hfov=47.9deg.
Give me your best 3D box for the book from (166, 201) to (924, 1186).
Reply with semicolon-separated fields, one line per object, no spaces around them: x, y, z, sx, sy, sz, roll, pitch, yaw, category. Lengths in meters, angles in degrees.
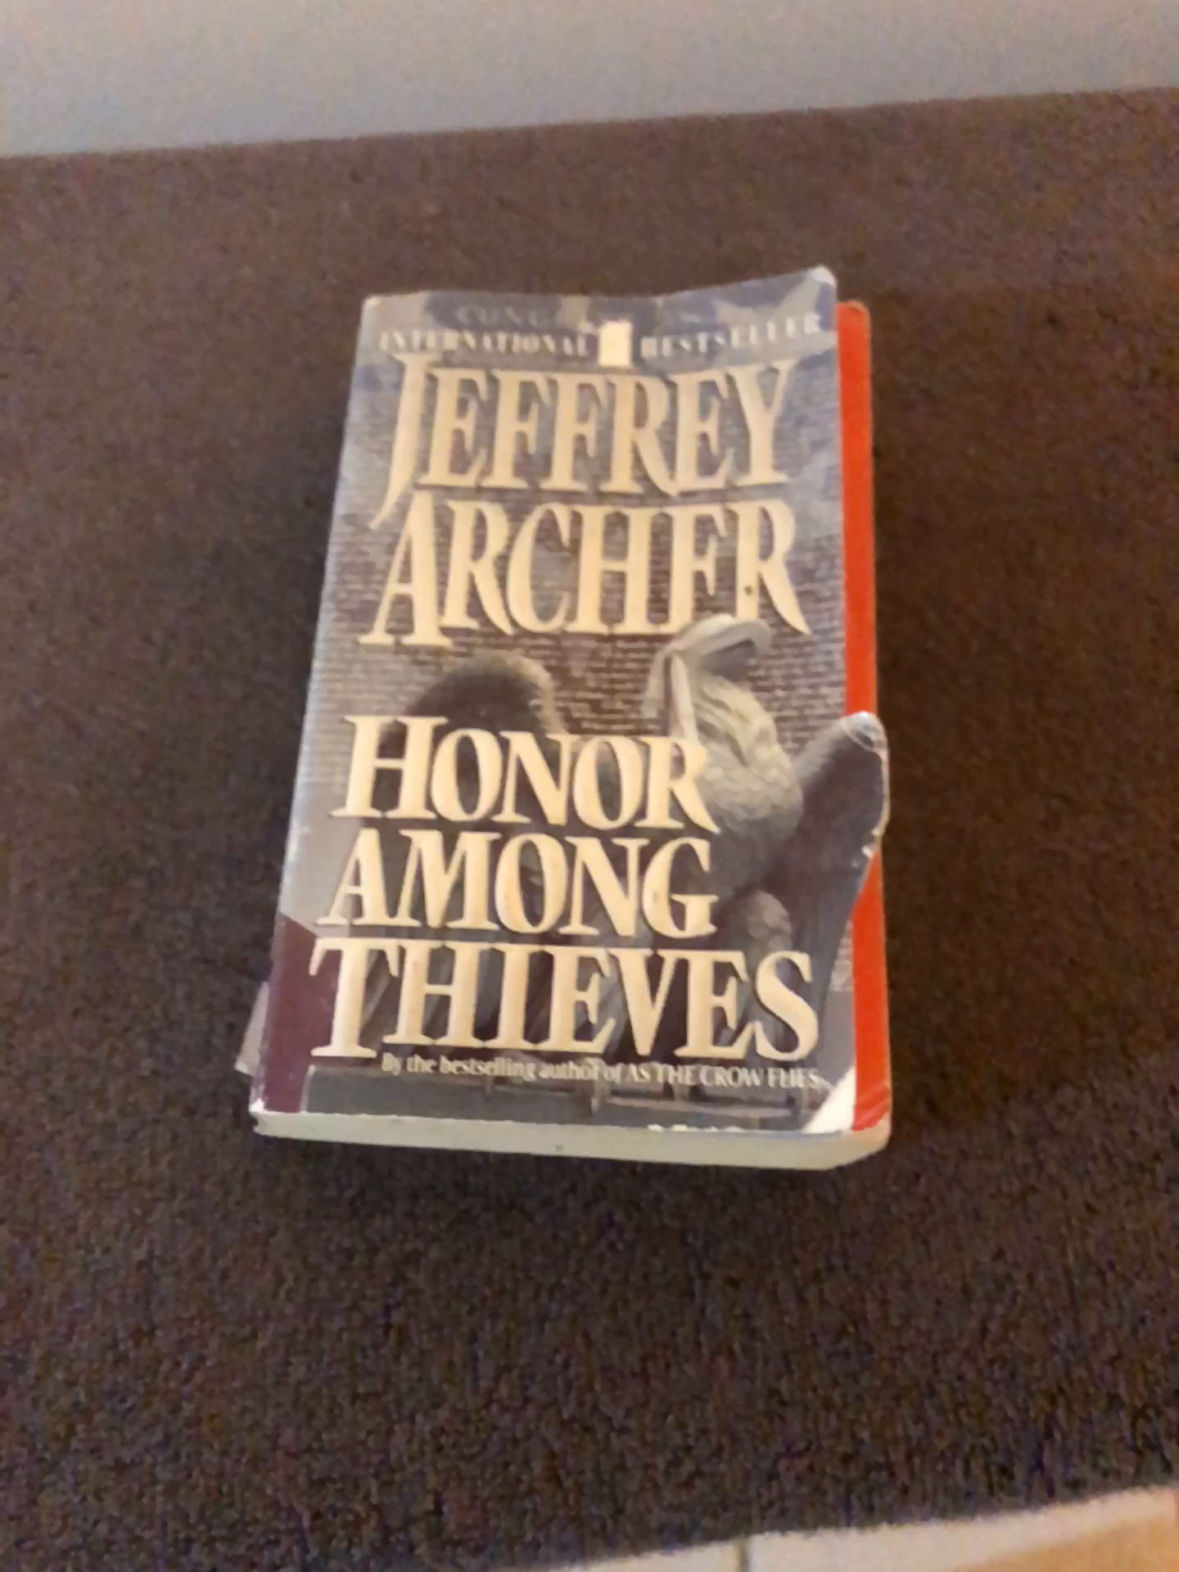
-0.002;-0.025;0.264;0.120;0.040;0.190;3;68;1;book
